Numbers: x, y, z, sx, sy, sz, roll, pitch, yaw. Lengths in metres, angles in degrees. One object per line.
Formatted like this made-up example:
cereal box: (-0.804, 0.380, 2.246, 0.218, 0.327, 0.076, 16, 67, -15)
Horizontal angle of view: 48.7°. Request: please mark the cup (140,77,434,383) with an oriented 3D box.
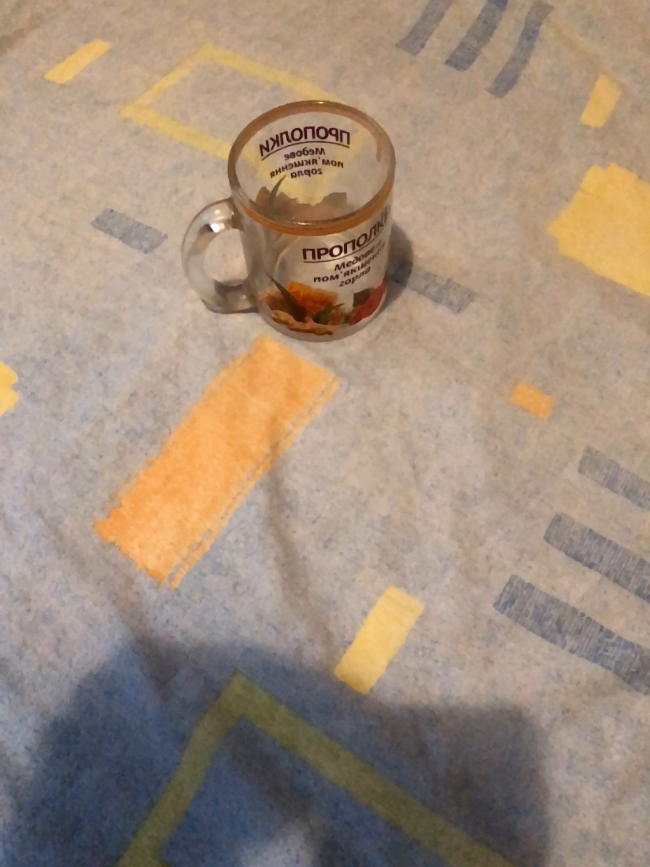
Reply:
cup: (-0.019, -0.101, 0.368, 0.110, 0.092, 0.084, -21, 66, -11)
